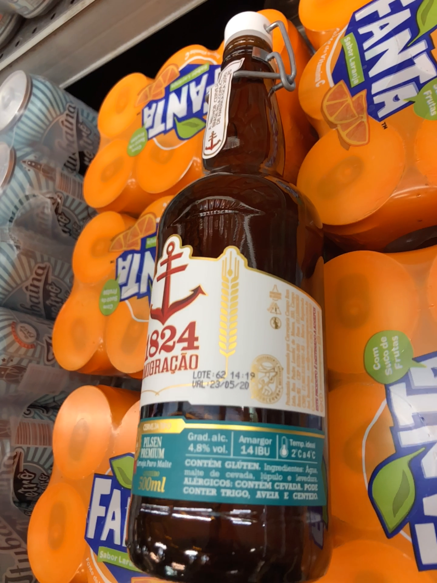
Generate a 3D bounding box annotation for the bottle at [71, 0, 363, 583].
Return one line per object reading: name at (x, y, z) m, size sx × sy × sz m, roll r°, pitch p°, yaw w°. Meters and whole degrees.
bottle at (0.001, -0.025, 0.197) m, size 0.080 × 0.050 × 0.250 m, roll -12°, pitch 67°, yaw 35°
